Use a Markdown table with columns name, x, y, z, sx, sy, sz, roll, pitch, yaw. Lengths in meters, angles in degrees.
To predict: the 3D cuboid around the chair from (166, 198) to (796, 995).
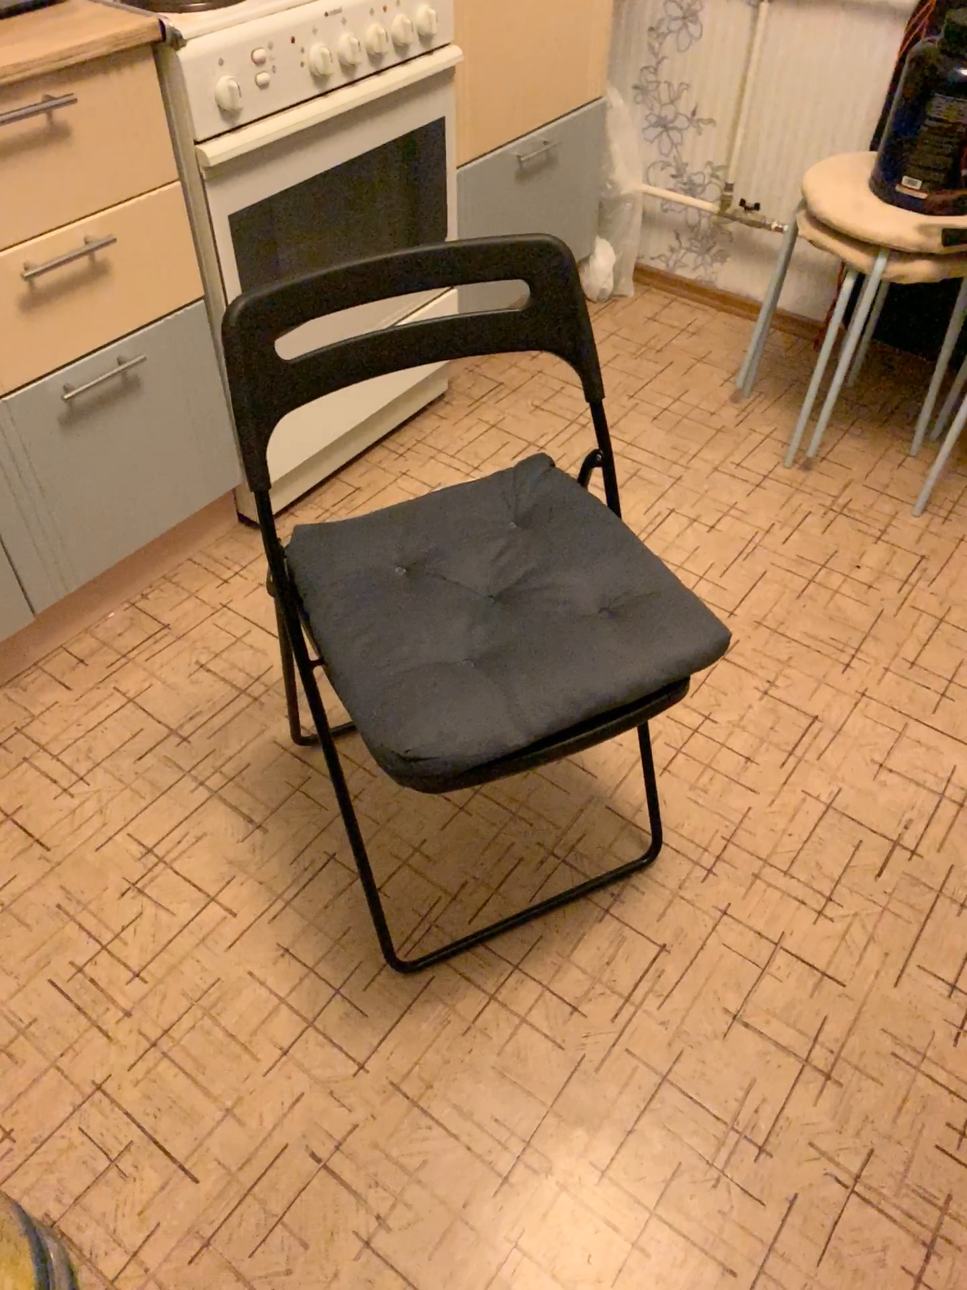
| name | x | y | z | sx | sy | sz | roll | pitch | yaw |
| --- | --- | --- | --- | --- | --- | --- | --- | --- | --- |
| chair | -0.029 | -0.037 | 1.236 | 0.441 | 0.776 | 0.482 | -20 | 49 | -19 |
